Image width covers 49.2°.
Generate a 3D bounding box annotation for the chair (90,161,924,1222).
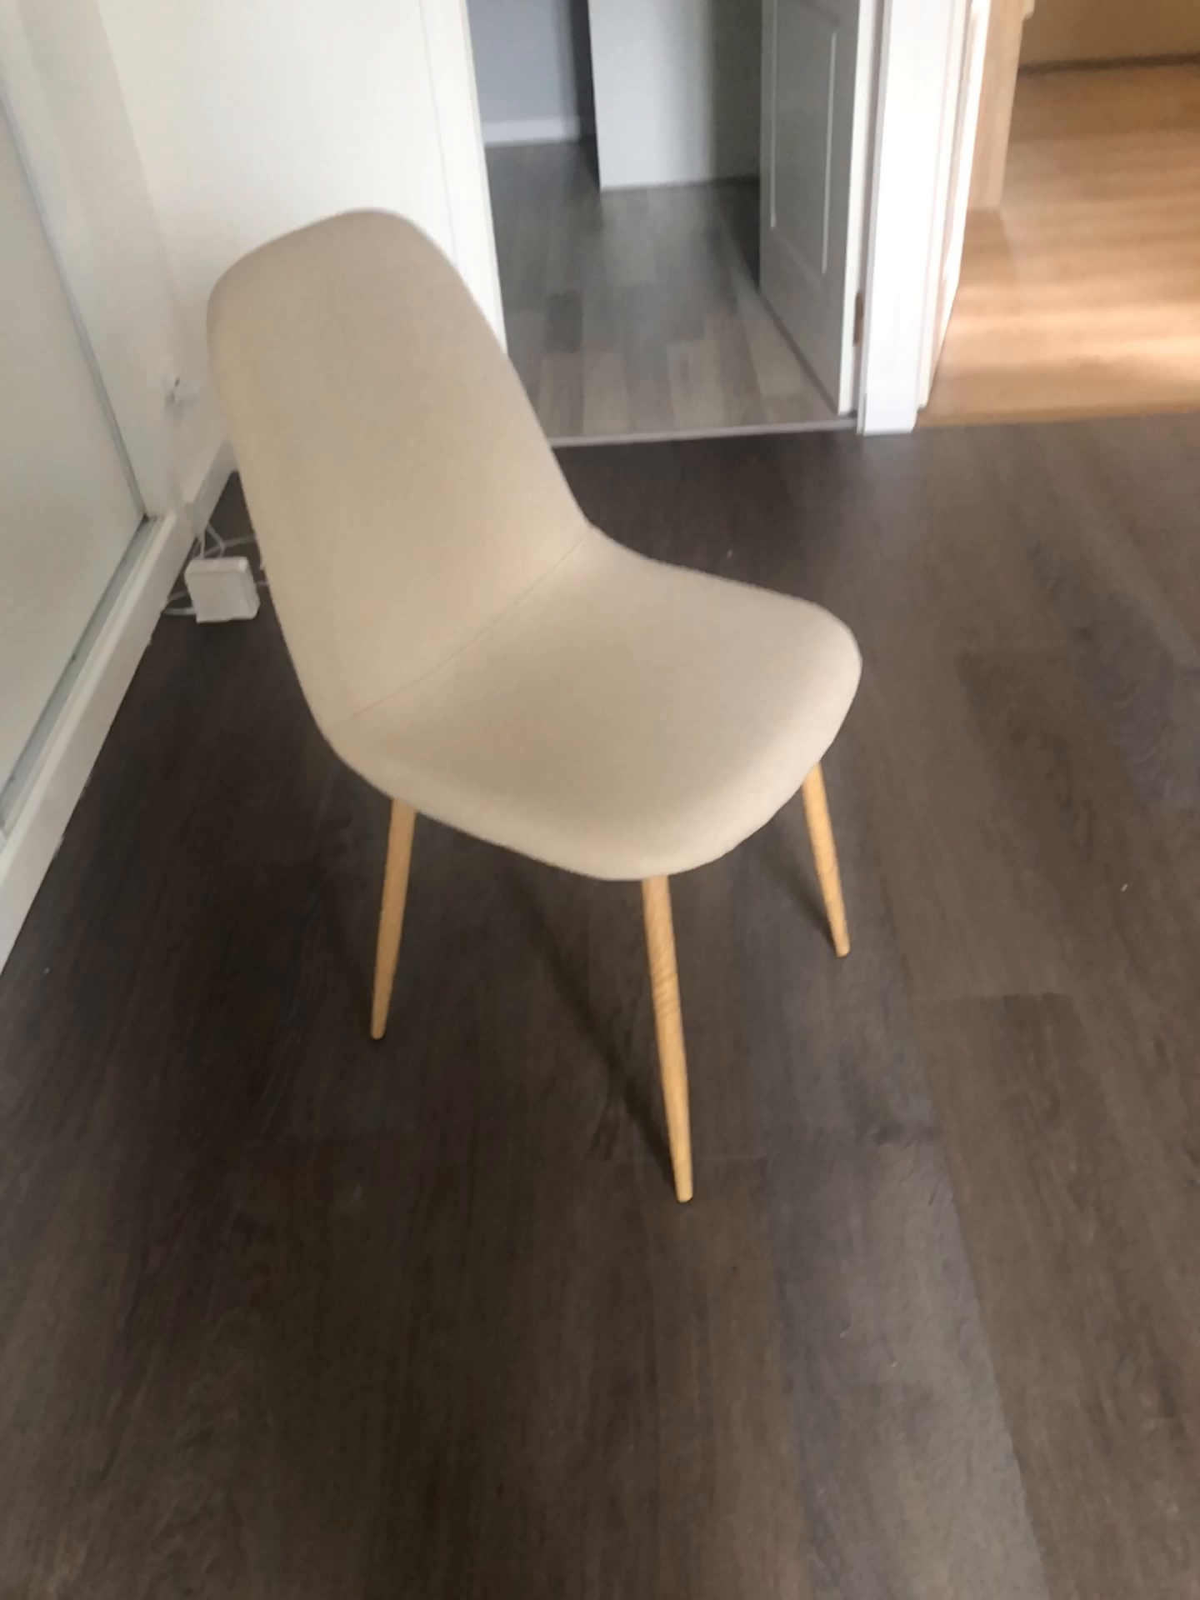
[{"bbox_3d":[-0.039,-0.098,1.302,0.500,0.845,0.433,21,47,28],"label":"chair"}]
